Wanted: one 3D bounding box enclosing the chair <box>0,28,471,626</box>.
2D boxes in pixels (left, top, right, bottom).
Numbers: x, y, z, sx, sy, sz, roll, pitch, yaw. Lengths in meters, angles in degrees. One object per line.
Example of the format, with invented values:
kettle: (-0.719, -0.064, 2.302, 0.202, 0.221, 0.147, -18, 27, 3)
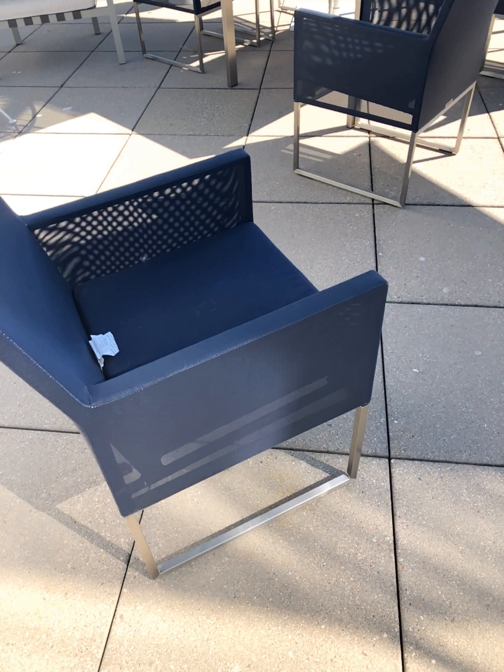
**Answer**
chair: (-0.146, -0.041, 1.097, 0.670, 0.776, 0.653, -21, 47, -17)
